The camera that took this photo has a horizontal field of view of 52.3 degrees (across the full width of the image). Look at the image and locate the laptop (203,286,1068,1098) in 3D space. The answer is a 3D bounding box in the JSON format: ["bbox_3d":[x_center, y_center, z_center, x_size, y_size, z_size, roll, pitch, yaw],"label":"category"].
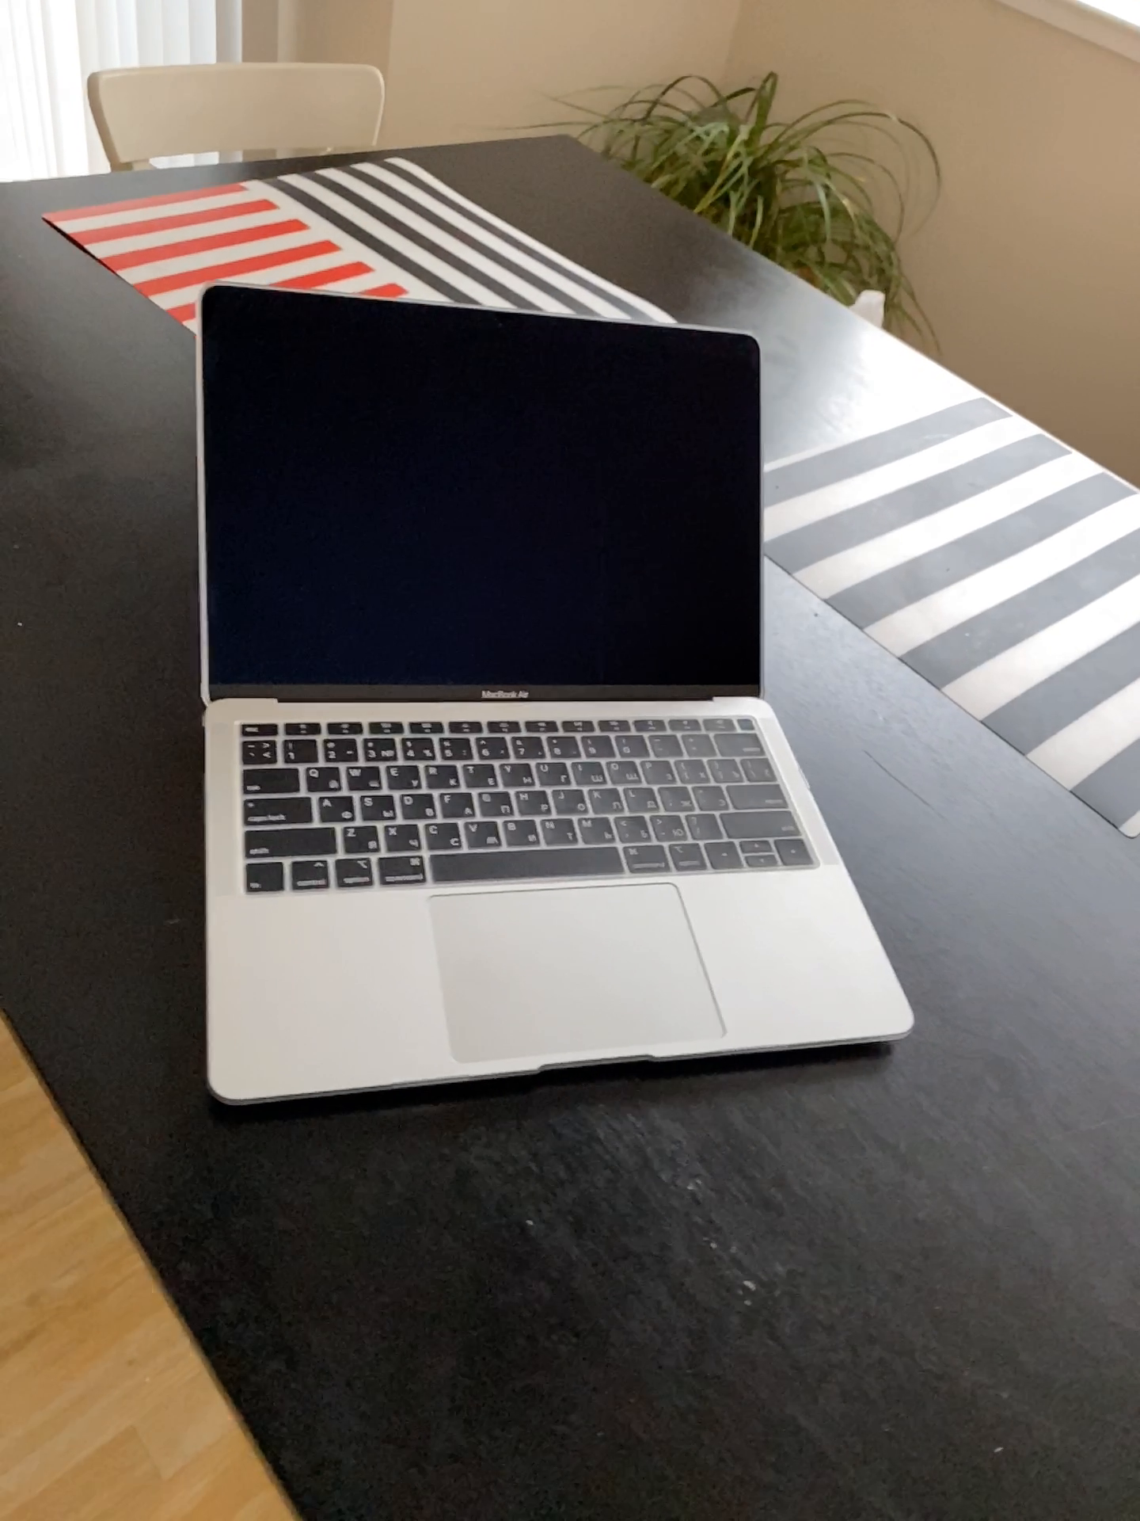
[{"bbox_3d":[-0.013,-0.058,0.546,0.297,0.139,0.363,-2,47,-17],"label":"laptop"}]
